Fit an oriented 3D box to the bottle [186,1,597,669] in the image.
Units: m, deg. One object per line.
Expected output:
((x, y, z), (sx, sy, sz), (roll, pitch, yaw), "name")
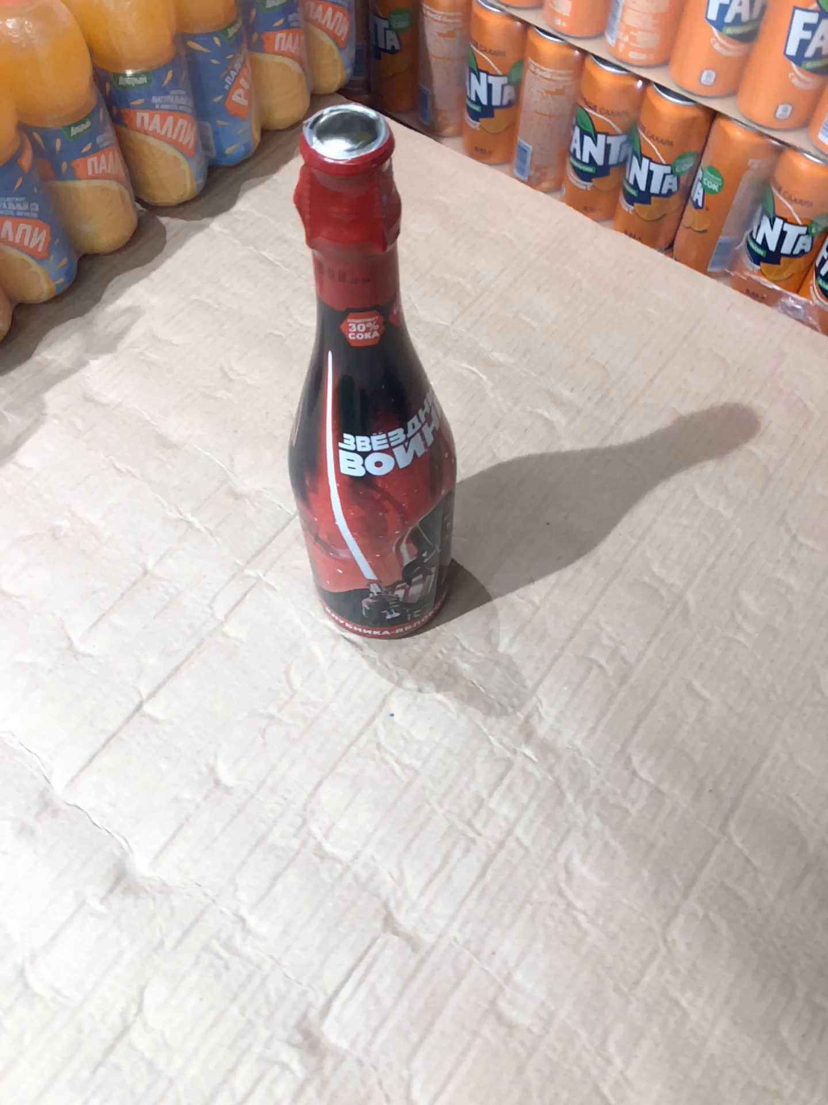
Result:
((-0.008, -0.058, 0.387), (0.085, 0.279, 0.086), (0, 61, -1), "bottle")
